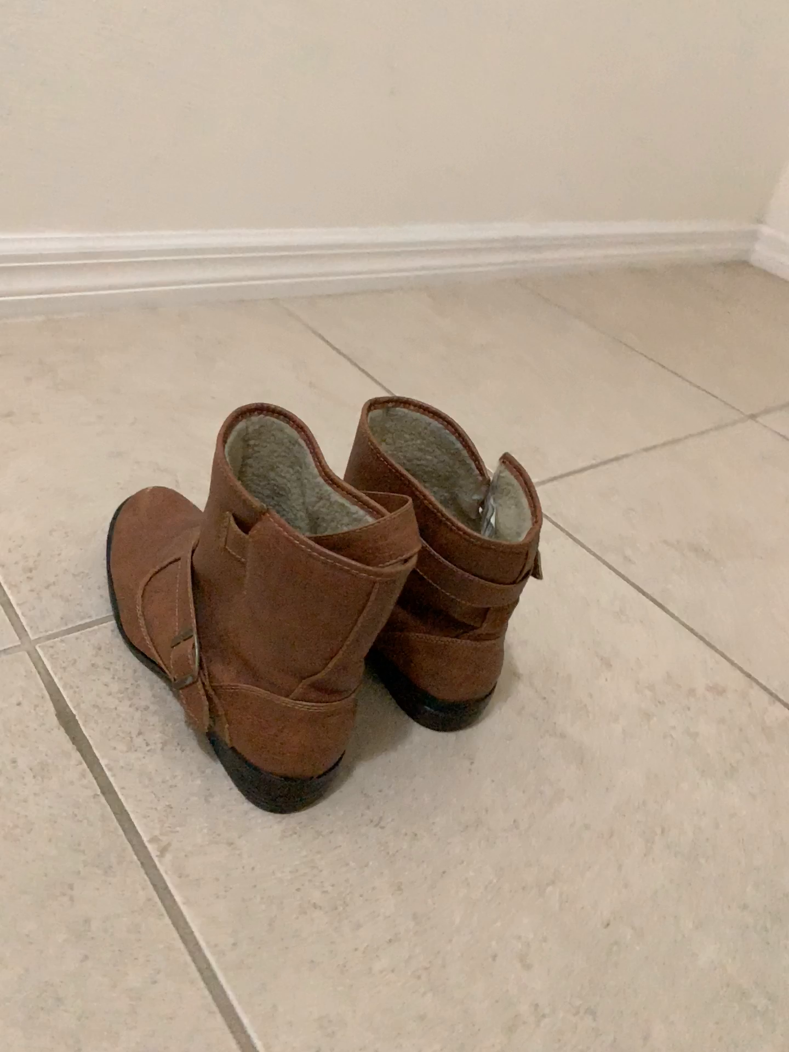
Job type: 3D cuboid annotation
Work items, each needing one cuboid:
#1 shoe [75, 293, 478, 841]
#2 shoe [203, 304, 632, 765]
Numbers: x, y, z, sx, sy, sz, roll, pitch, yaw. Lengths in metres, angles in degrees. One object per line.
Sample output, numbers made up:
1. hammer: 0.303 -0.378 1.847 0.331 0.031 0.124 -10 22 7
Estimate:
1. shoe: -0.092 0.009 0.472 0.095 0.192 0.247 -15 45 -37
2. shoe: -0.006 -0.010 0.546 0.108 0.172 0.261 -19 47 -39
